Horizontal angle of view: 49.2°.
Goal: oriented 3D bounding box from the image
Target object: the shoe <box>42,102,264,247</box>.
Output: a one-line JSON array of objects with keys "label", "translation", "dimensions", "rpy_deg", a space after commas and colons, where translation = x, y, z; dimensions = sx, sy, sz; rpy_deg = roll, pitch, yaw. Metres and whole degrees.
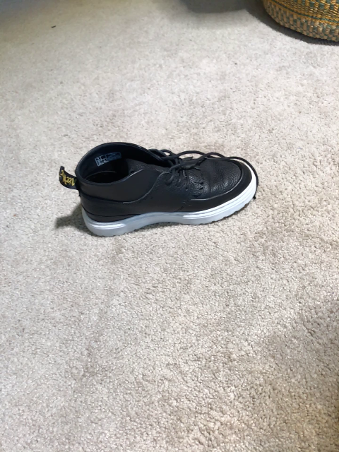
[{"label": "shoe", "translation": [-0.021, -0.066, 0.504], "dimensions": [0.262, 0.111, 0.107], "rpy_deg": [-10, 57, 1]}]
